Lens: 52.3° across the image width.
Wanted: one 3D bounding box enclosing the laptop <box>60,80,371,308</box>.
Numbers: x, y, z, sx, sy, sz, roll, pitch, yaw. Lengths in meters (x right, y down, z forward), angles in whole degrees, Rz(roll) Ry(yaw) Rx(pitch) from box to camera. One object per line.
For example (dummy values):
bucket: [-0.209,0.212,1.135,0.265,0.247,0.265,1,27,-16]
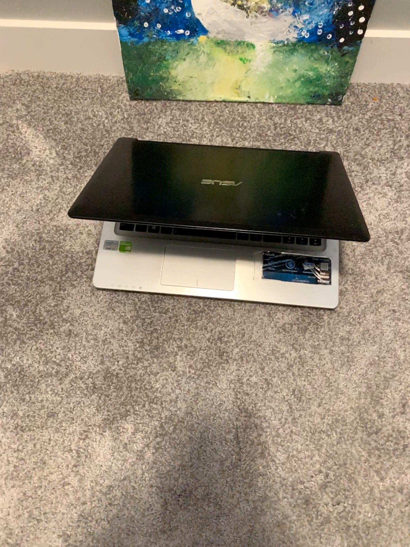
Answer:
laptop: [0.021,-0.106,0.578,0.354,0.134,0.253,5,72,3]
